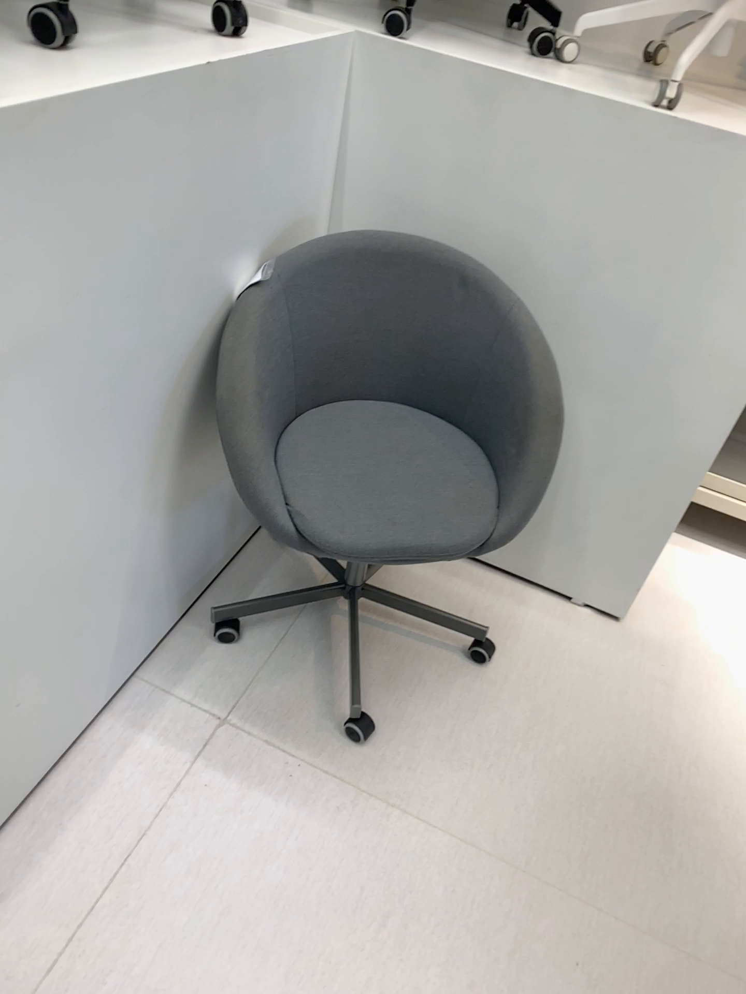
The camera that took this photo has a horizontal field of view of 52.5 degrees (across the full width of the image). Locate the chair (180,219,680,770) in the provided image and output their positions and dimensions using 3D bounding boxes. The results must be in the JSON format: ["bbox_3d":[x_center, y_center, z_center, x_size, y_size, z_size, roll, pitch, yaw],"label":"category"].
[{"bbox_3d":[-0.017,-0.042,1.653,0.721,0.767,0.833,-3,41,-18],"label":"chair"}]
